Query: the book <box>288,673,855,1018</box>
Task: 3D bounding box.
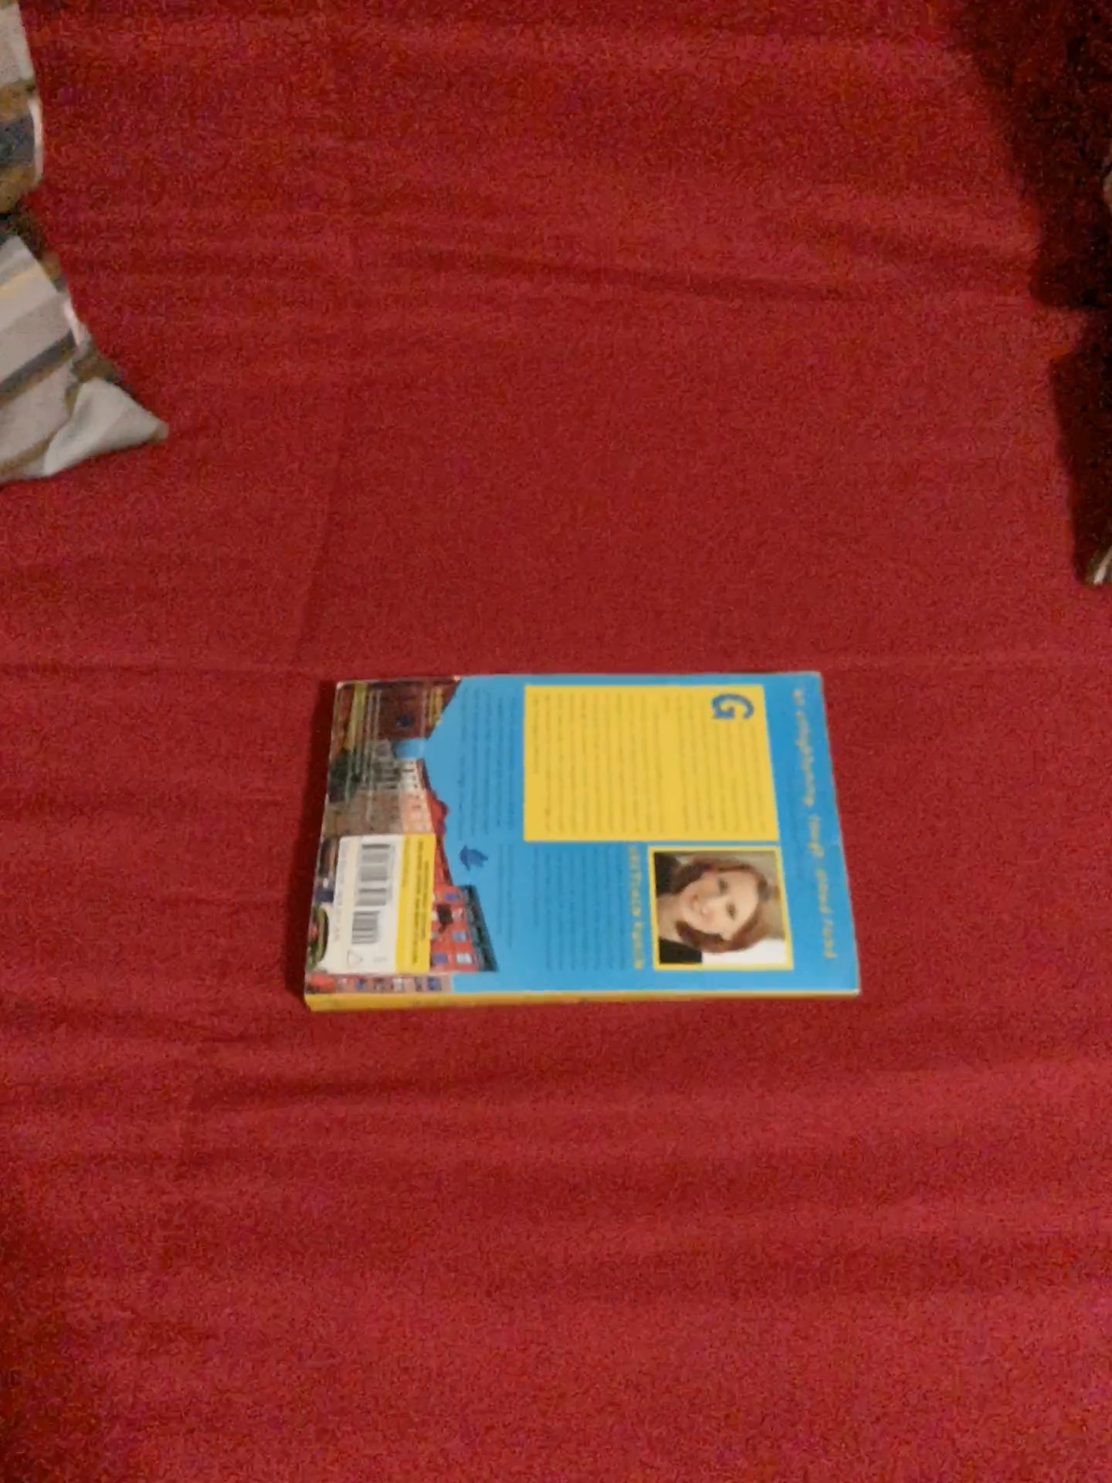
[{"bbox_3d":[0.006,0.039,0.454,0.202,0.033,0.133,0,62,1],"label":"book"}]
